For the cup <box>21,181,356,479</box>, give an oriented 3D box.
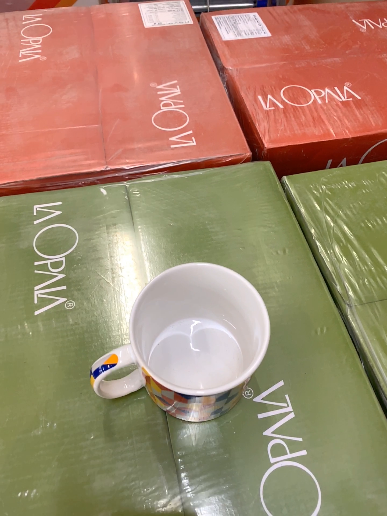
[{"bbox_3d":[-0.005,0.041,0.228,0.130,0.100,0.090,-23,59,-16],"label":"cup"}]
